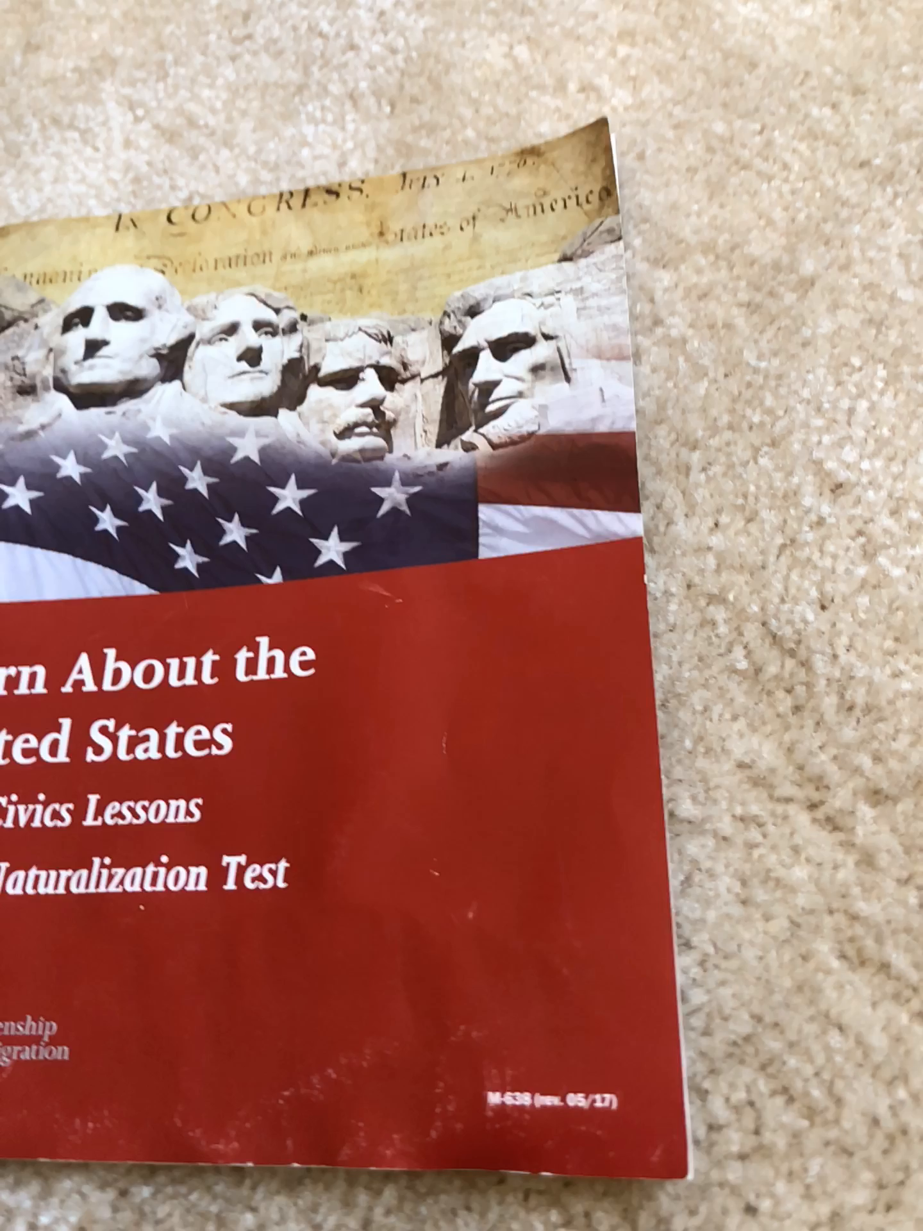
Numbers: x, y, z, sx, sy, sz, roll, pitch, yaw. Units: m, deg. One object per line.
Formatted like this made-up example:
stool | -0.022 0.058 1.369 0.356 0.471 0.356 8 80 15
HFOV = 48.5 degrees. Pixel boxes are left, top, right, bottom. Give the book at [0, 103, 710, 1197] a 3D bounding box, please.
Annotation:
book | -0.054 -0.007 0.272 0.208 0.028 0.274 -5 66 12
